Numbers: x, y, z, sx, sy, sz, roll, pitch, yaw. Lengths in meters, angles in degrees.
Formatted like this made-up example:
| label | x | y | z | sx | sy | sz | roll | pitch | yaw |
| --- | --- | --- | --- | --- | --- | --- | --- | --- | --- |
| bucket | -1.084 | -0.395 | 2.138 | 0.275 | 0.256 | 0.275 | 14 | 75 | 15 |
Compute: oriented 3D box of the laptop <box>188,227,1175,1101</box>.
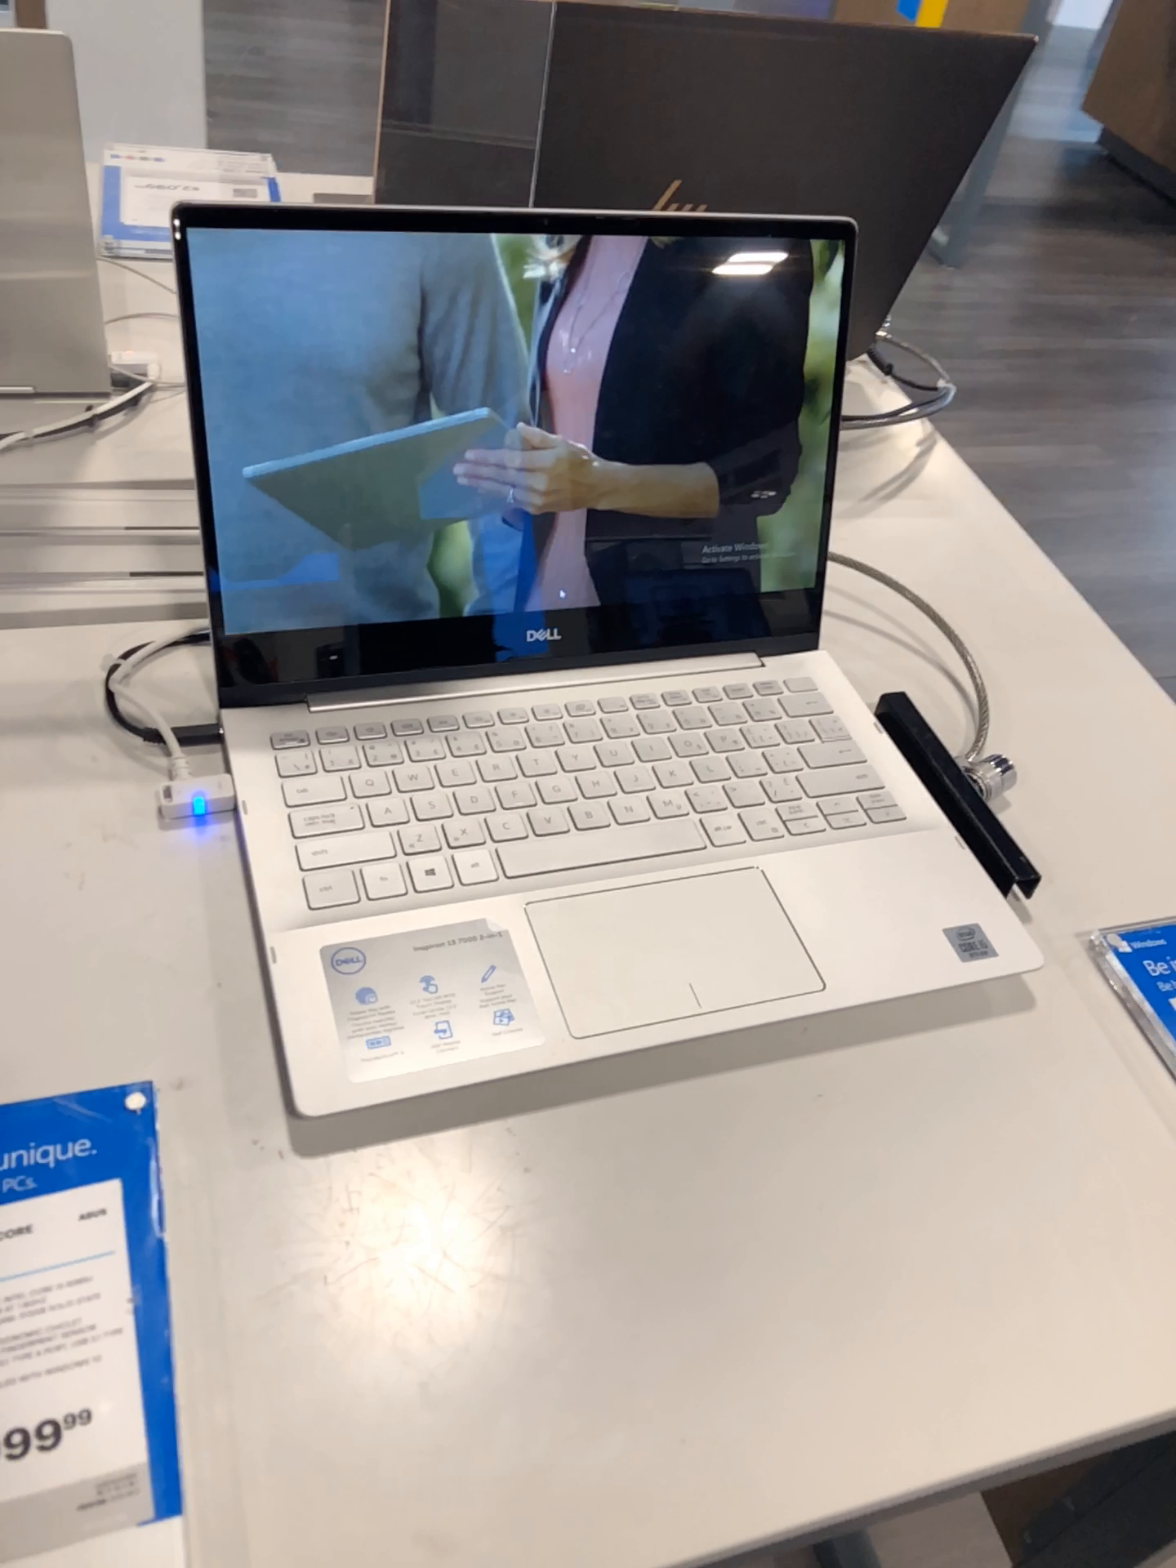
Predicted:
| label | x | y | z | sx | sy | sz | roll | pitch | yaw |
| --- | --- | --- | --- | --- | --- | --- | --- | --- | --- |
| laptop | 0.016 | -0.066 | 0.491 | 0.285 | 0.186 | 0.265 | -7 | 45 | -19 |
